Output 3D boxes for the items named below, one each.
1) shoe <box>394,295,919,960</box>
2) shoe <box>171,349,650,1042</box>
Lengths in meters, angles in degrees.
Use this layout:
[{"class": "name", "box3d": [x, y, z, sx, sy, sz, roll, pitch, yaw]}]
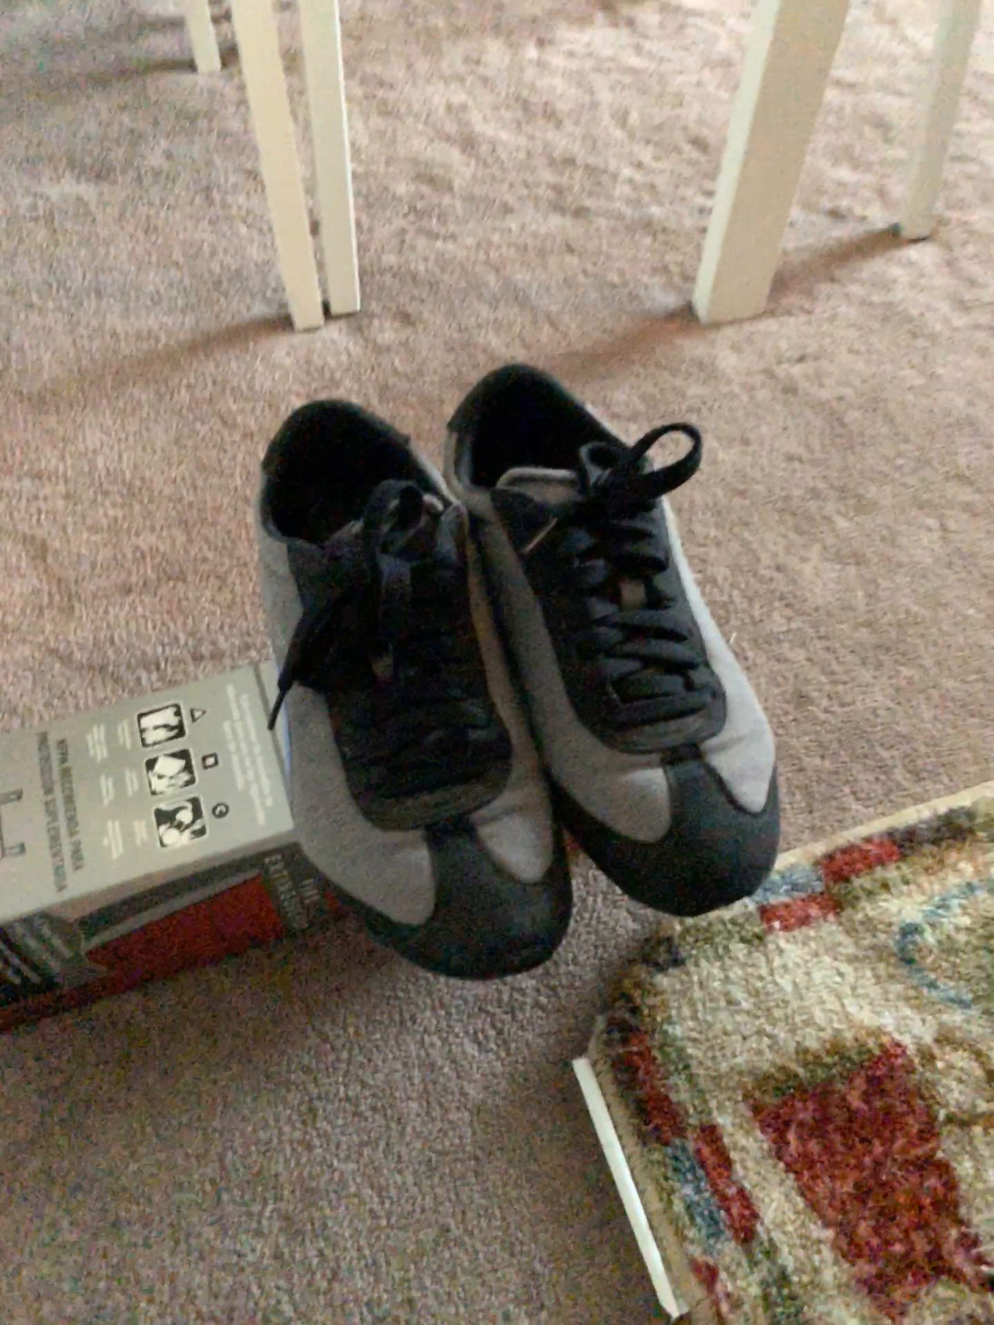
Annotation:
[{"class": "shoe", "box3d": [0.044, -0.024, 0.412, 0.100, 0.099, 0.241, -16, 58, -11]}, {"class": "shoe", "box3d": [-0.042, 0.001, 0.382, 0.100, 0.089, 0.231, -16, 58, -11]}]
